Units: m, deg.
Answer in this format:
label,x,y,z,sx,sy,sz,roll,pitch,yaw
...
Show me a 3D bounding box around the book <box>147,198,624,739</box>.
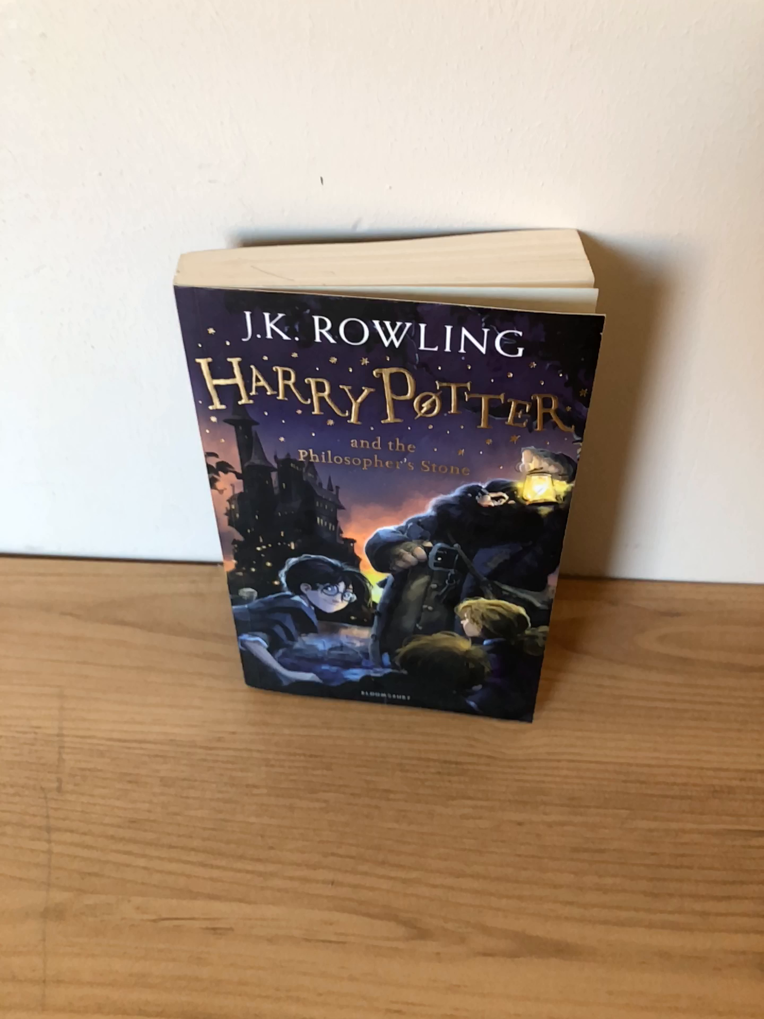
label,x,y,z,sx,sy,sz,roll,pitch,yaw
book,0.002,-0.007,0.326,0.135,0.192,0.068,6,40,5
